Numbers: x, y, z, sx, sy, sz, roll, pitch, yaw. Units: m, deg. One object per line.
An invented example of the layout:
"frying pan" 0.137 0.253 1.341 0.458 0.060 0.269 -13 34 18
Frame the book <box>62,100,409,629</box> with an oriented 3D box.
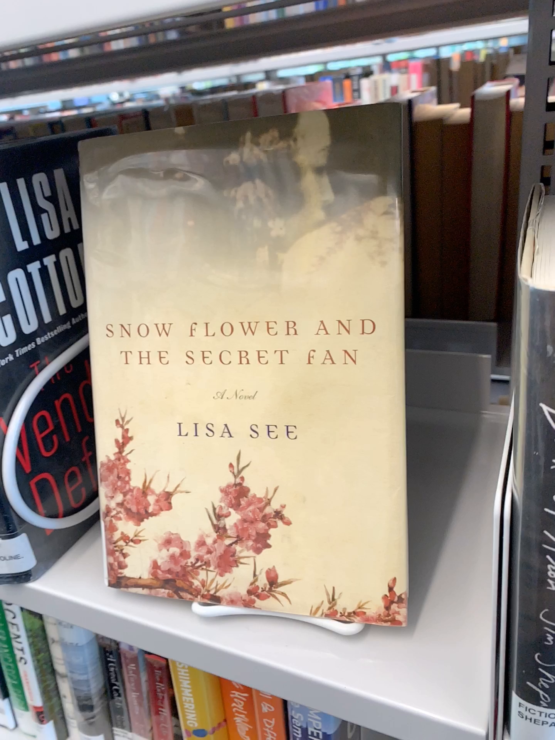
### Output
"book" -0.019 0.000 0.293 0.163 0.231 0.041 0 6 16
